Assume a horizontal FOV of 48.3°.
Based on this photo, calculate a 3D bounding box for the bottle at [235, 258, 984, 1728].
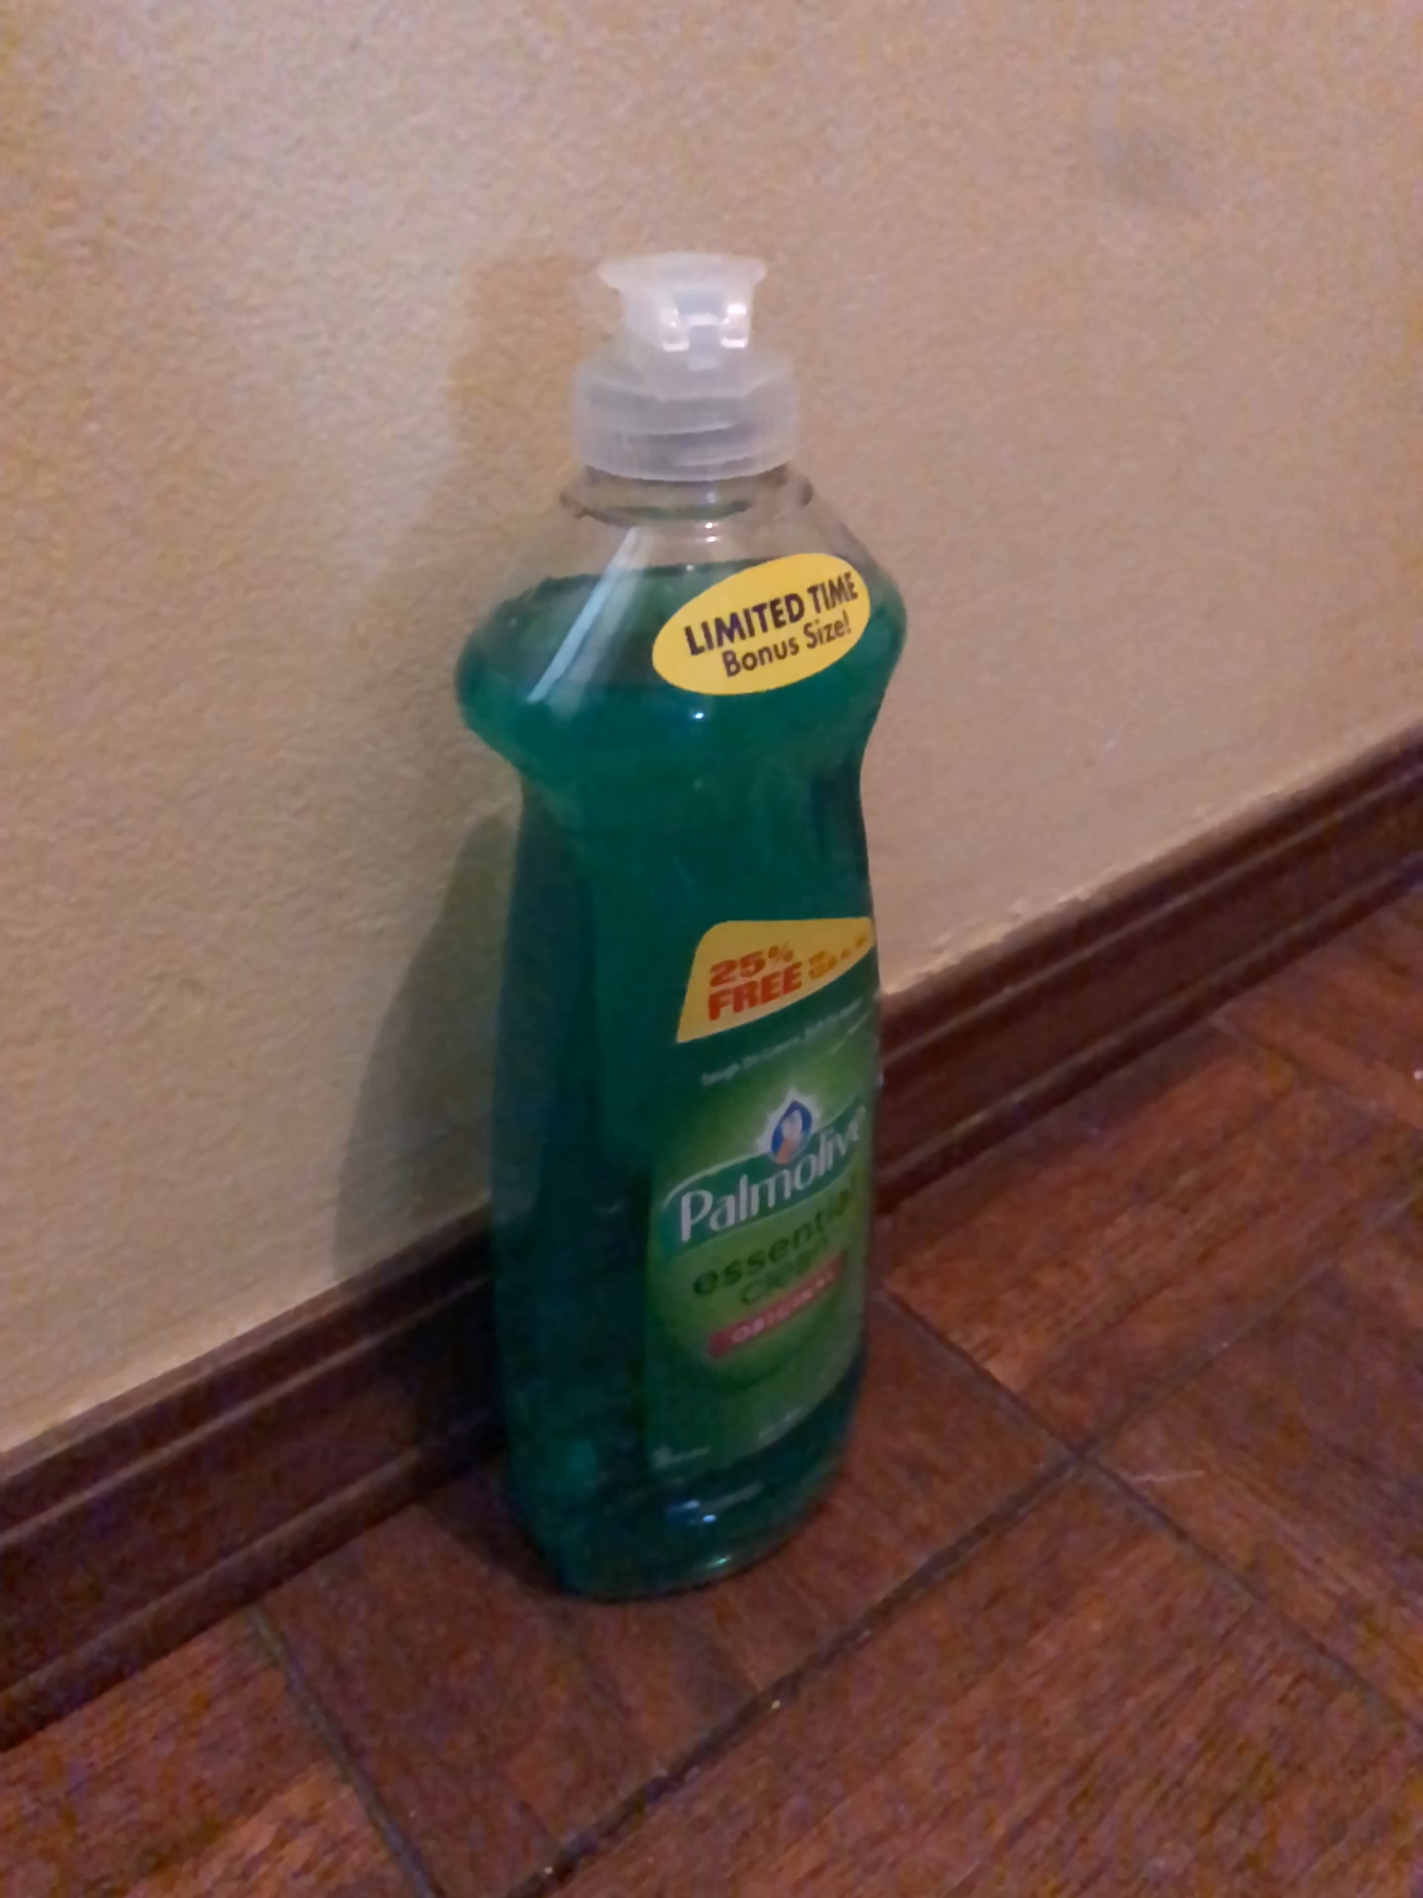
[{"bbox_3d":[-0.009,0.018,0.261,0.080,0.229,0.050,-27,41,-34],"label":"bottle"}]
